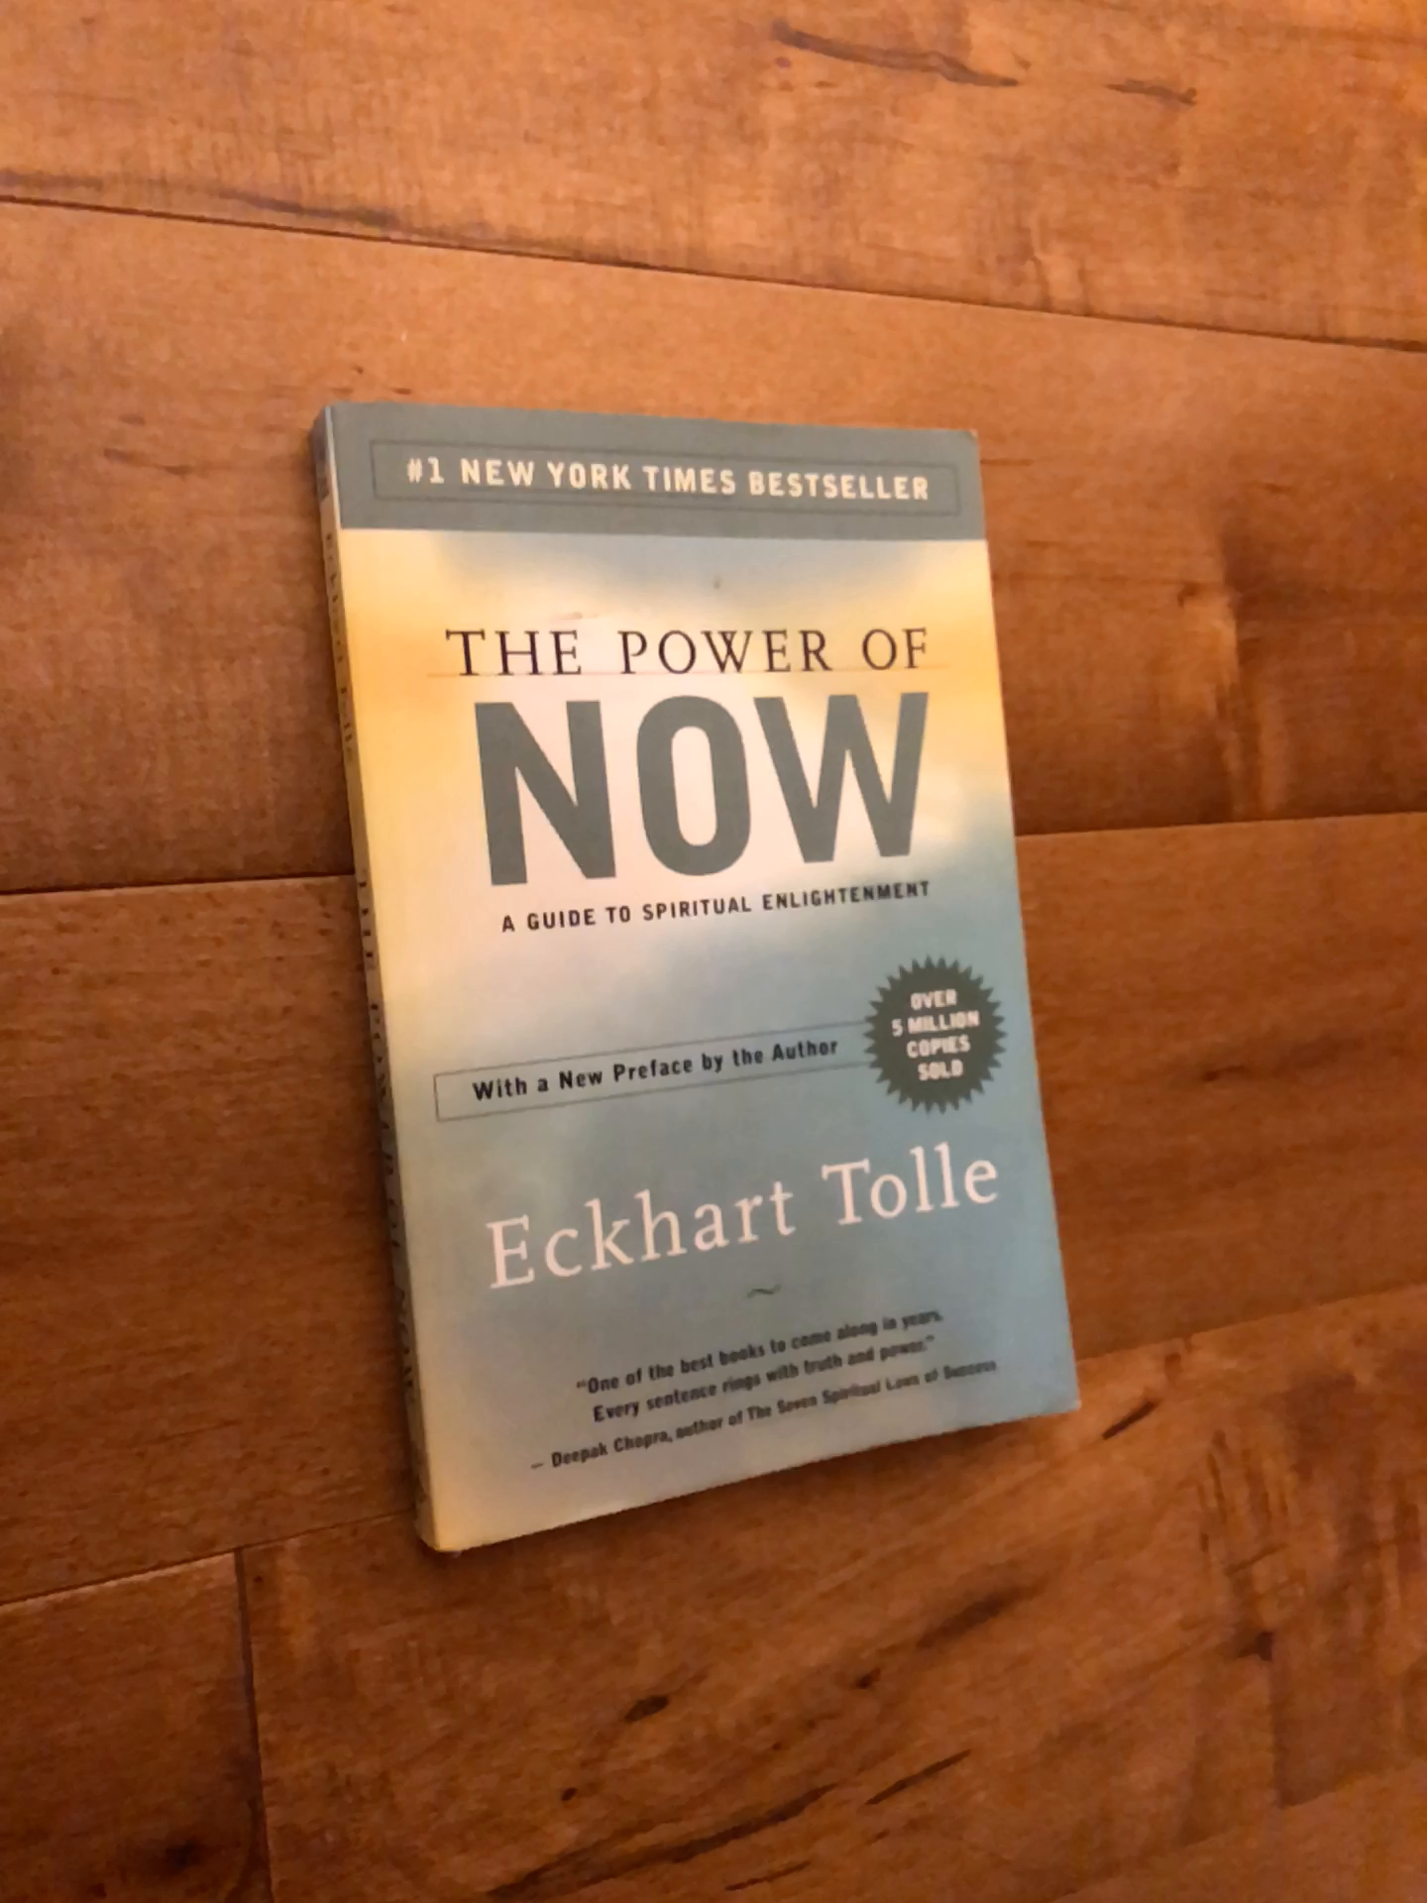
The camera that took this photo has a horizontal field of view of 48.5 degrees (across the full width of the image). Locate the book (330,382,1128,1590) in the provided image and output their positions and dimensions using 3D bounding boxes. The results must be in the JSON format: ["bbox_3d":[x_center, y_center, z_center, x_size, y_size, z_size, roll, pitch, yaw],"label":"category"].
[{"bbox_3d":[0.007,0.000,0.333,0.146,0.030,0.222,-6,90,-24],"label":"book"}]
